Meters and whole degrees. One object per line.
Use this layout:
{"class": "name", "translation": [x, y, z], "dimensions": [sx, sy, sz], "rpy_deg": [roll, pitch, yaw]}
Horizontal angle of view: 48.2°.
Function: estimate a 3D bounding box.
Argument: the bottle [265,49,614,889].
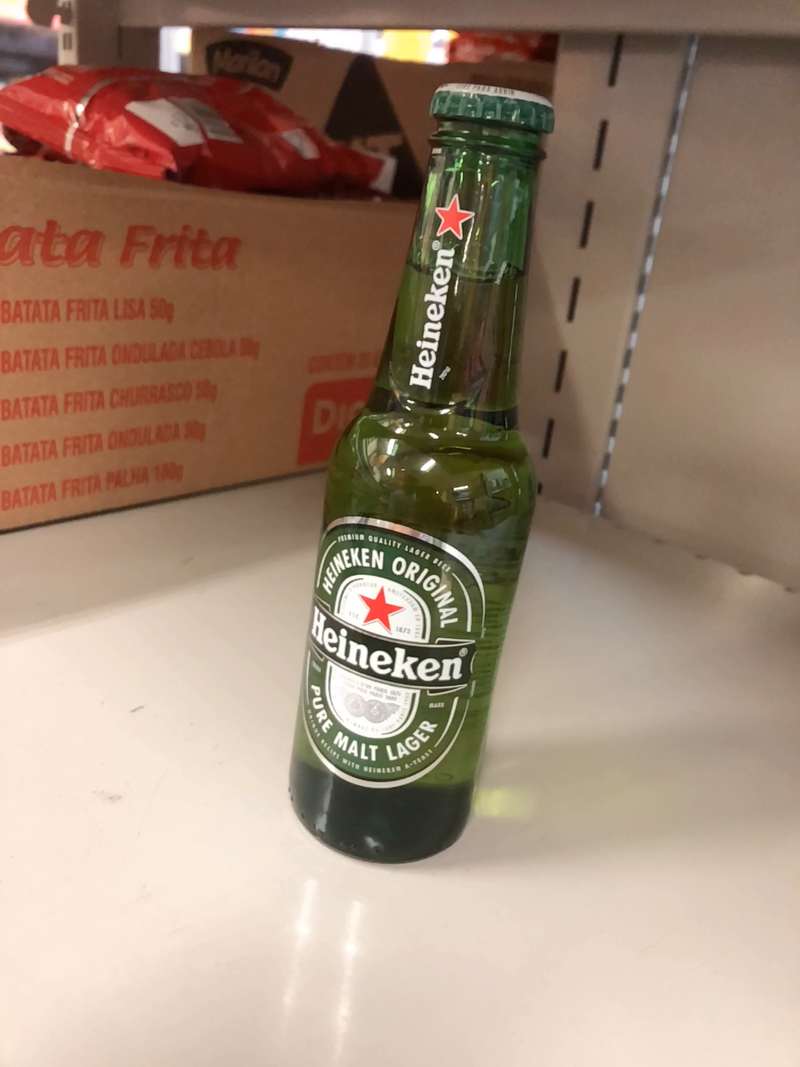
{"class": "bottle", "translation": [0.007, -0.011, 0.238], "dimensions": [0.060, 0.199, 0.060], "rpy_deg": [5, 23, -2]}
